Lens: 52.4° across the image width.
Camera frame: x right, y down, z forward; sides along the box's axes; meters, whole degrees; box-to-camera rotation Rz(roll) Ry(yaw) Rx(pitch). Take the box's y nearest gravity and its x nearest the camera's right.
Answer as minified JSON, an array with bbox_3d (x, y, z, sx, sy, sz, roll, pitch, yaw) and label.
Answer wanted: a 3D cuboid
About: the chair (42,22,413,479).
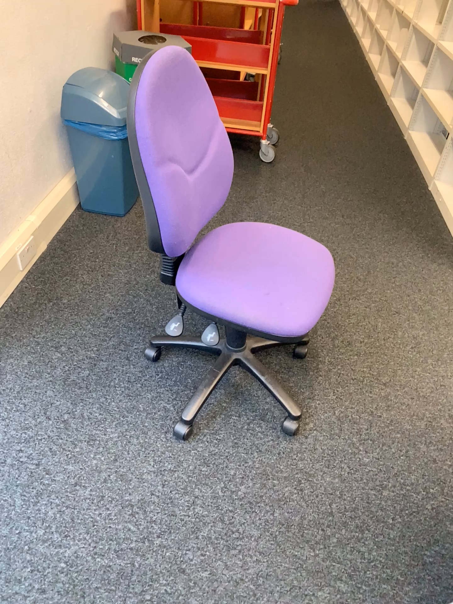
[{"bbox_3d":[0.037,-0.150,1.330,0.635,0.983,0.674,16,41,12],"label":"chair"}]
